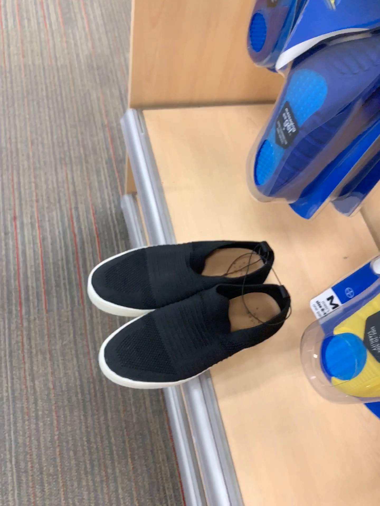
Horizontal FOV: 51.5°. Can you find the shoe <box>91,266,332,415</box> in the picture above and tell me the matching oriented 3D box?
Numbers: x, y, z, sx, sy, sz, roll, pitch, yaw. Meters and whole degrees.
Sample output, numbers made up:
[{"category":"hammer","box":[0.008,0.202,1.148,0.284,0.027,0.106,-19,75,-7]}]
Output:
[{"category":"shoe","box":[0.023,0.110,0.505,0.270,0.100,0.100,-12,67,-17]}]

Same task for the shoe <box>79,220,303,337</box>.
[{"category":"shoe","box":[-0.004,0.033,0.536,0.270,0.100,0.100,-5,65,-14]}]
